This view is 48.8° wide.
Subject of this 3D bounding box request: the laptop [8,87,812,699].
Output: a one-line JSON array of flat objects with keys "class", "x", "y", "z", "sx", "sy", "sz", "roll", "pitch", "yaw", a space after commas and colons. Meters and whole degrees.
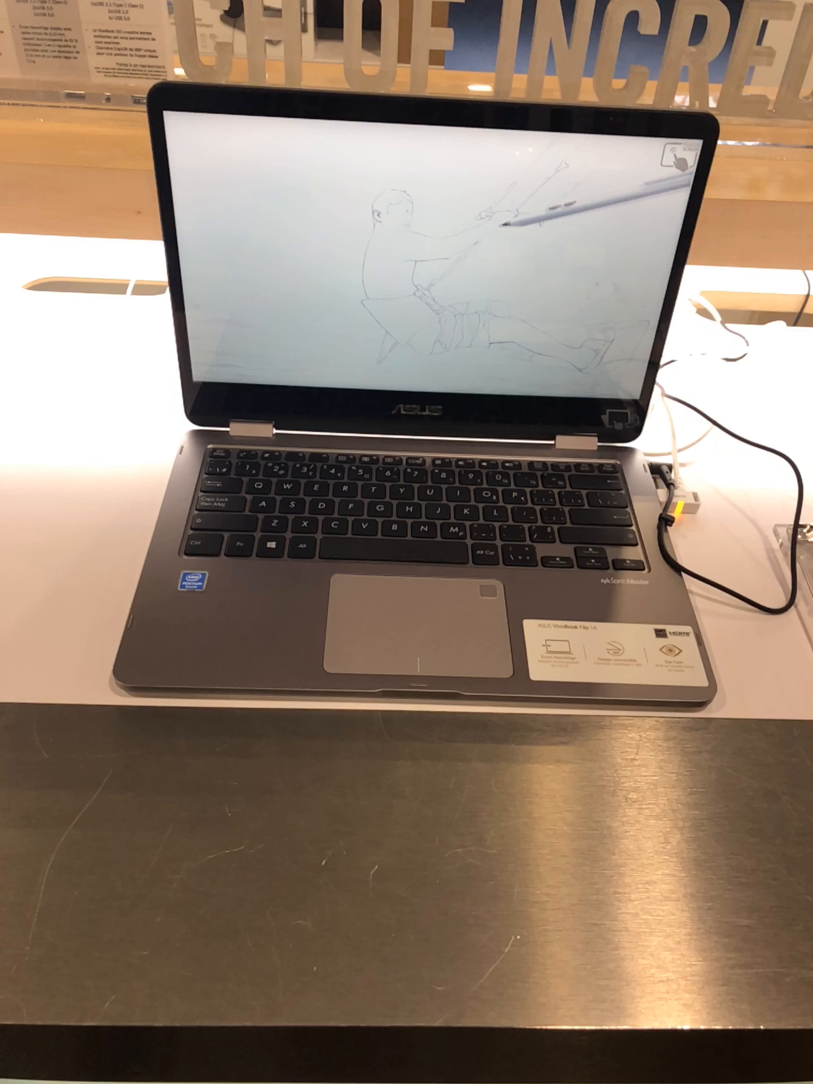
[{"class": "laptop", "x": 0.012, "y": -0.075, "z": 0.455, "sx": 0.303, "sy": 0.211, "sz": 0.211, "roll": 2, "pitch": 44, "yaw": -2}]
